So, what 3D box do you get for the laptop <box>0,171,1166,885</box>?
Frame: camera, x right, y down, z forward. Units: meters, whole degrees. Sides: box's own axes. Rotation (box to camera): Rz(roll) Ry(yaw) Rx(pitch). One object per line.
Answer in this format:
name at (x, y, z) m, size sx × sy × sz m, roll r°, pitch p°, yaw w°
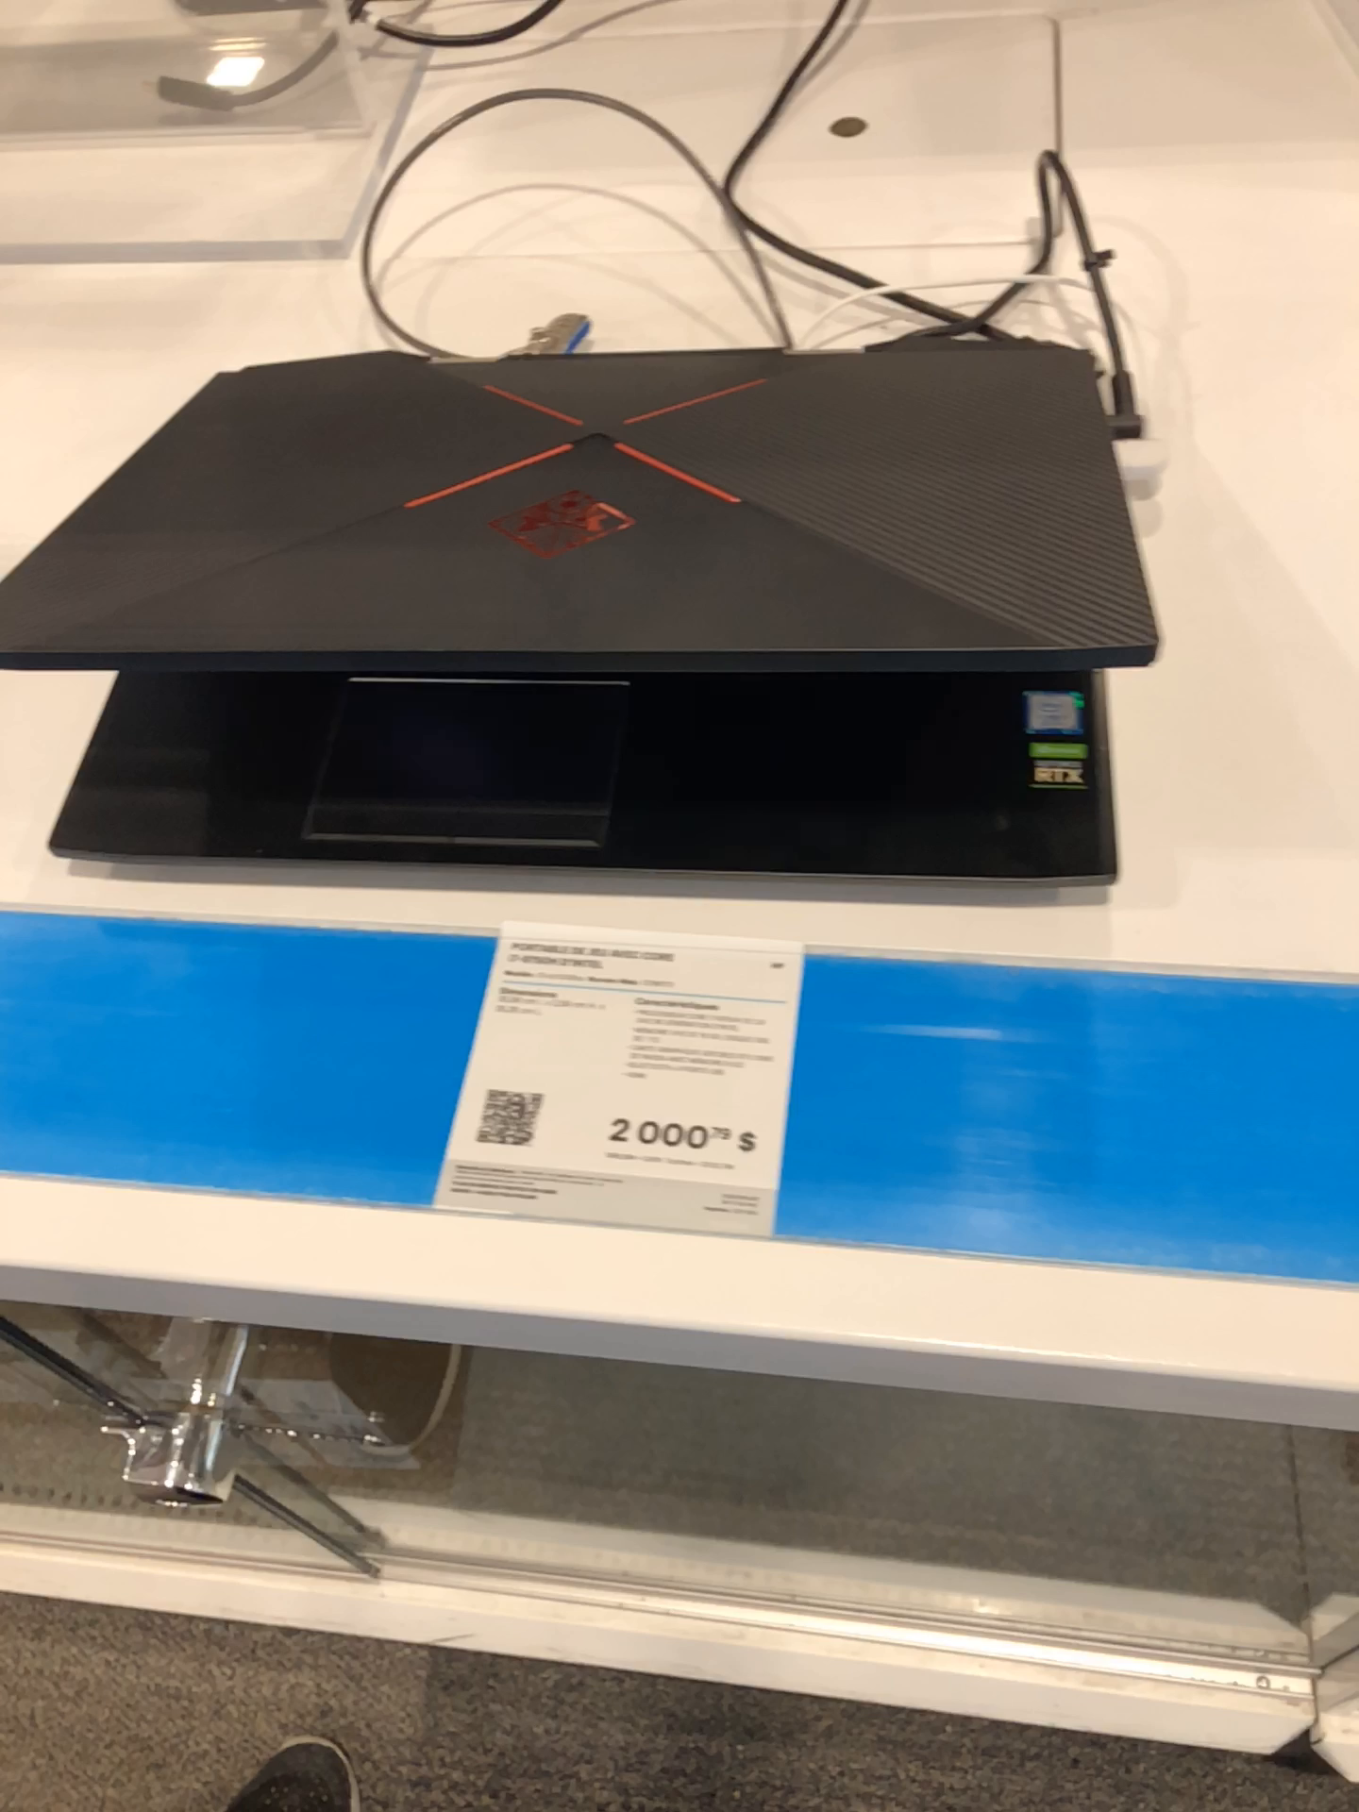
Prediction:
laptop at (-0.031, -0.136, 0.509) m, size 0.346 × 0.085 × 0.235 m, roll 2°, pitch 57°, yaw 9°
